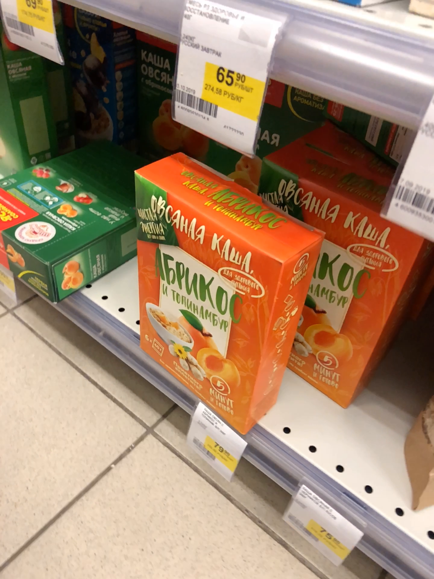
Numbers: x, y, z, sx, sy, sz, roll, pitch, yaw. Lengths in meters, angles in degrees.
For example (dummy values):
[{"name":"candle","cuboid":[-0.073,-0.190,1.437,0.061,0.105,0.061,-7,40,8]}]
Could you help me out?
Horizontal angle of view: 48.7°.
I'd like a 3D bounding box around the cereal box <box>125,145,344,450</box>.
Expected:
[{"name":"cereal box","cuboid":[-0.001,0.012,0.365,0.140,0.189,0.050,35,50,27]}]
